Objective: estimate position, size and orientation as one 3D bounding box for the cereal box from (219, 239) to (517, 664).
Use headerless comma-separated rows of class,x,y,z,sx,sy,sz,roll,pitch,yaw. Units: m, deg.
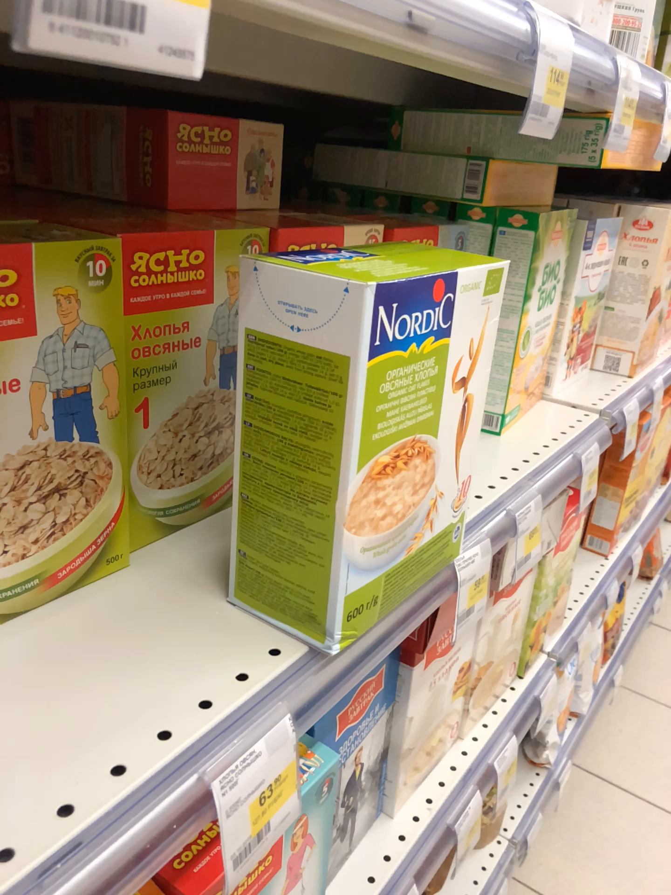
cereal box,0.019,-0.011,0.414,0.080,0.189,0.151,19,25,32
